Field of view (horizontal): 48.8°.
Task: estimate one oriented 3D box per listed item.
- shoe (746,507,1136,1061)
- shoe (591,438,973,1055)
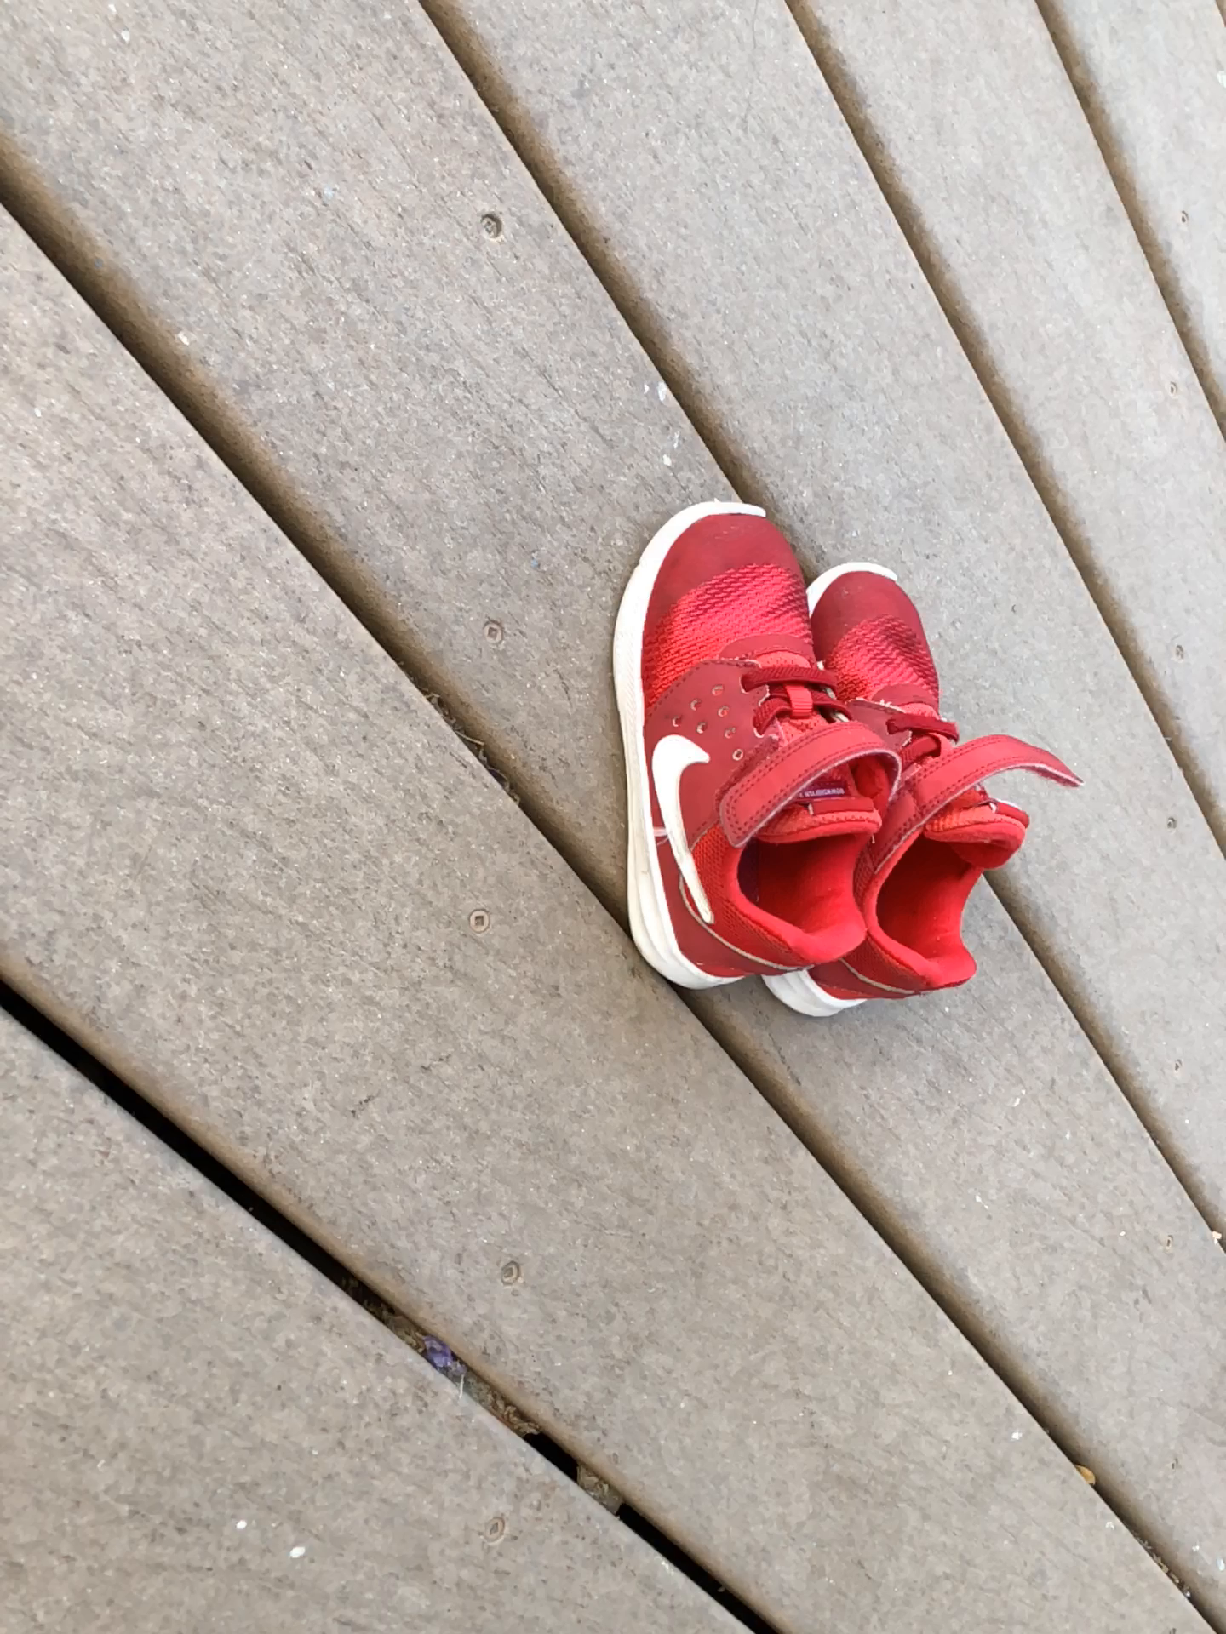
[{"bbox_3d":[0.111,-0.007,0.462,0.078,0.087,0.167,8,86,-38],"label":"shoe"},{"bbox_3d":[0.052,-0.019,0.424,0.078,0.087,0.167,1,91,-38],"label":"shoe"}]
